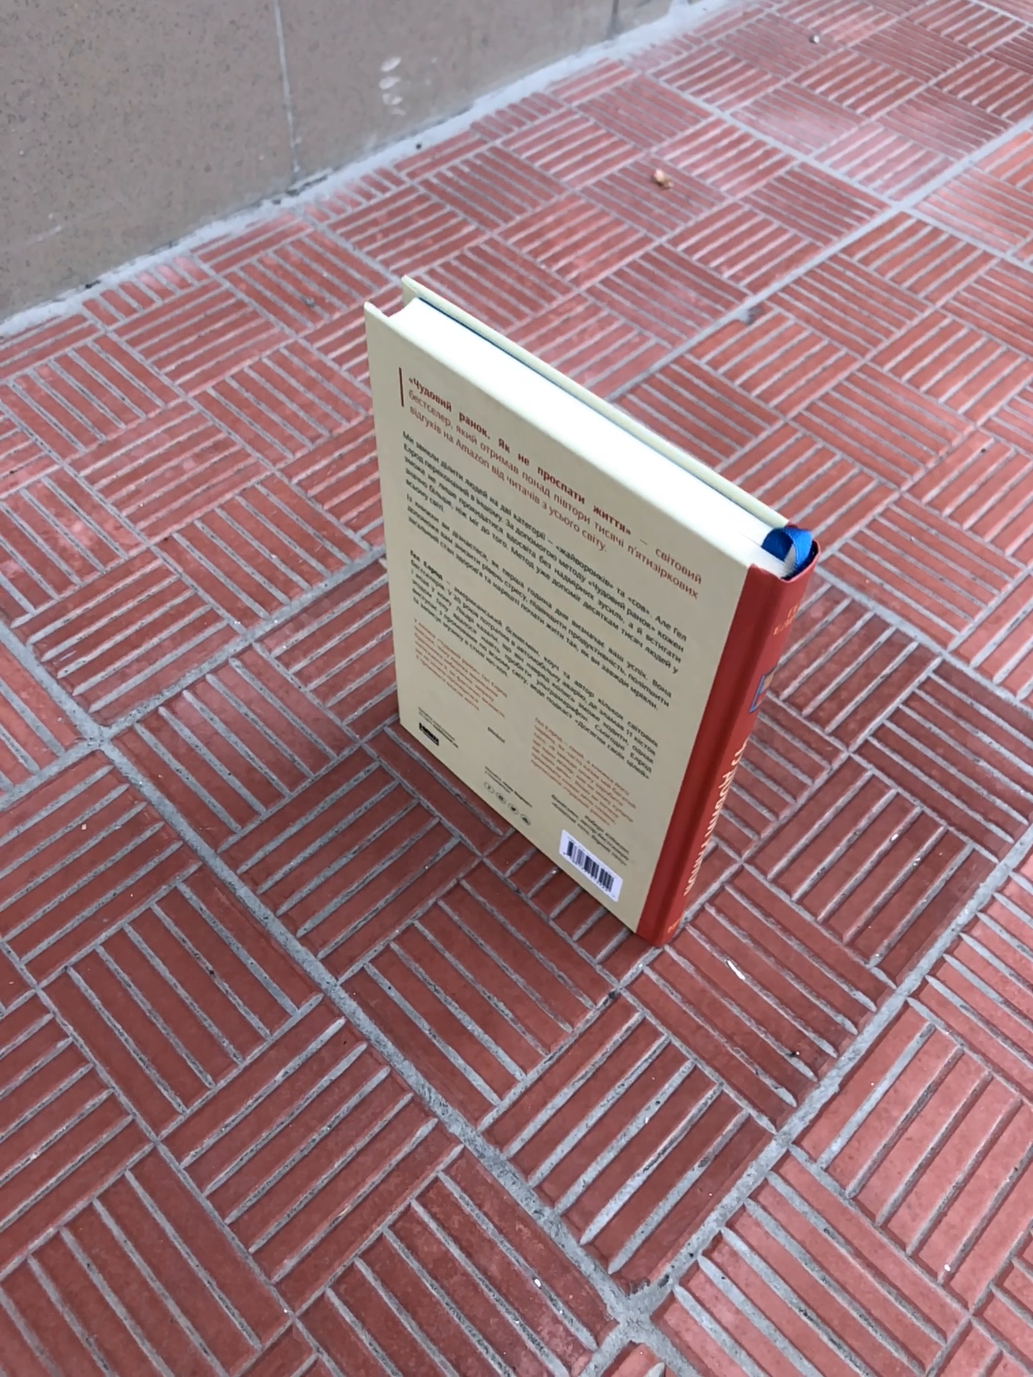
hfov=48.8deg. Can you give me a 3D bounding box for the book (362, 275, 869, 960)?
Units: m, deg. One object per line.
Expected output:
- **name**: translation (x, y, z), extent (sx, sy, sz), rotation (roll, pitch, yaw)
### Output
- **book**: translation (0.016, -0.009, 0.361), extent (0.145, 0.196, 0.025), rotation (39, 62, 23)
